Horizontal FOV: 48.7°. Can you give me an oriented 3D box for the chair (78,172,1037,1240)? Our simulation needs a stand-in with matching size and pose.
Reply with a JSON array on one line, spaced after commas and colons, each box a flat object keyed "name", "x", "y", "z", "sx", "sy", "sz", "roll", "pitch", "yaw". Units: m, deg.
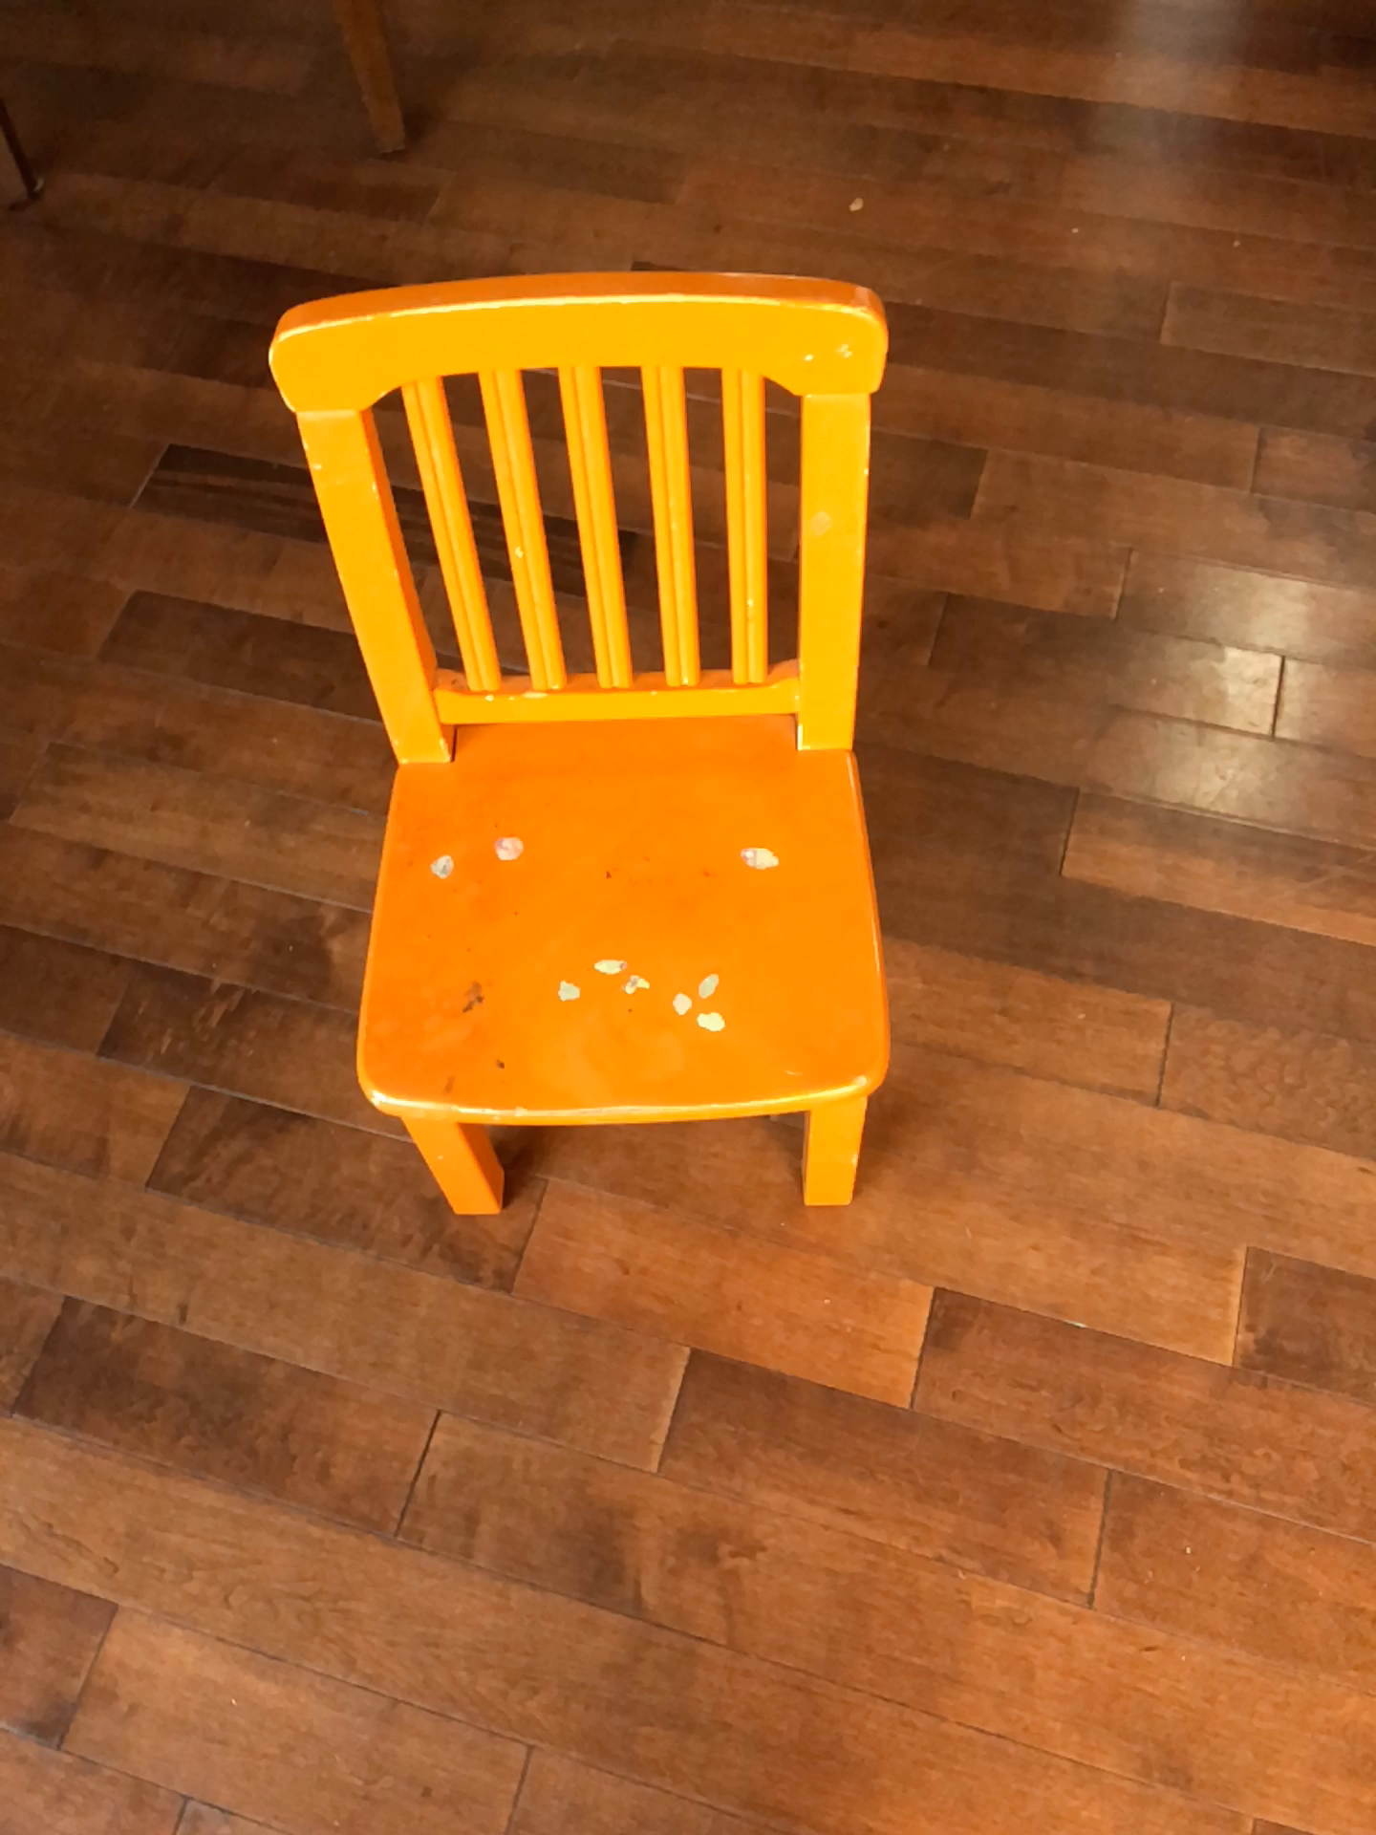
[{"name": "chair", "x": -0.037, "y": -0.063, "z": 0.901, "sx": 0.360, "sy": 0.569, "sz": 0.350, "roll": -1, "pitch": 62, "yaw": 3}]
